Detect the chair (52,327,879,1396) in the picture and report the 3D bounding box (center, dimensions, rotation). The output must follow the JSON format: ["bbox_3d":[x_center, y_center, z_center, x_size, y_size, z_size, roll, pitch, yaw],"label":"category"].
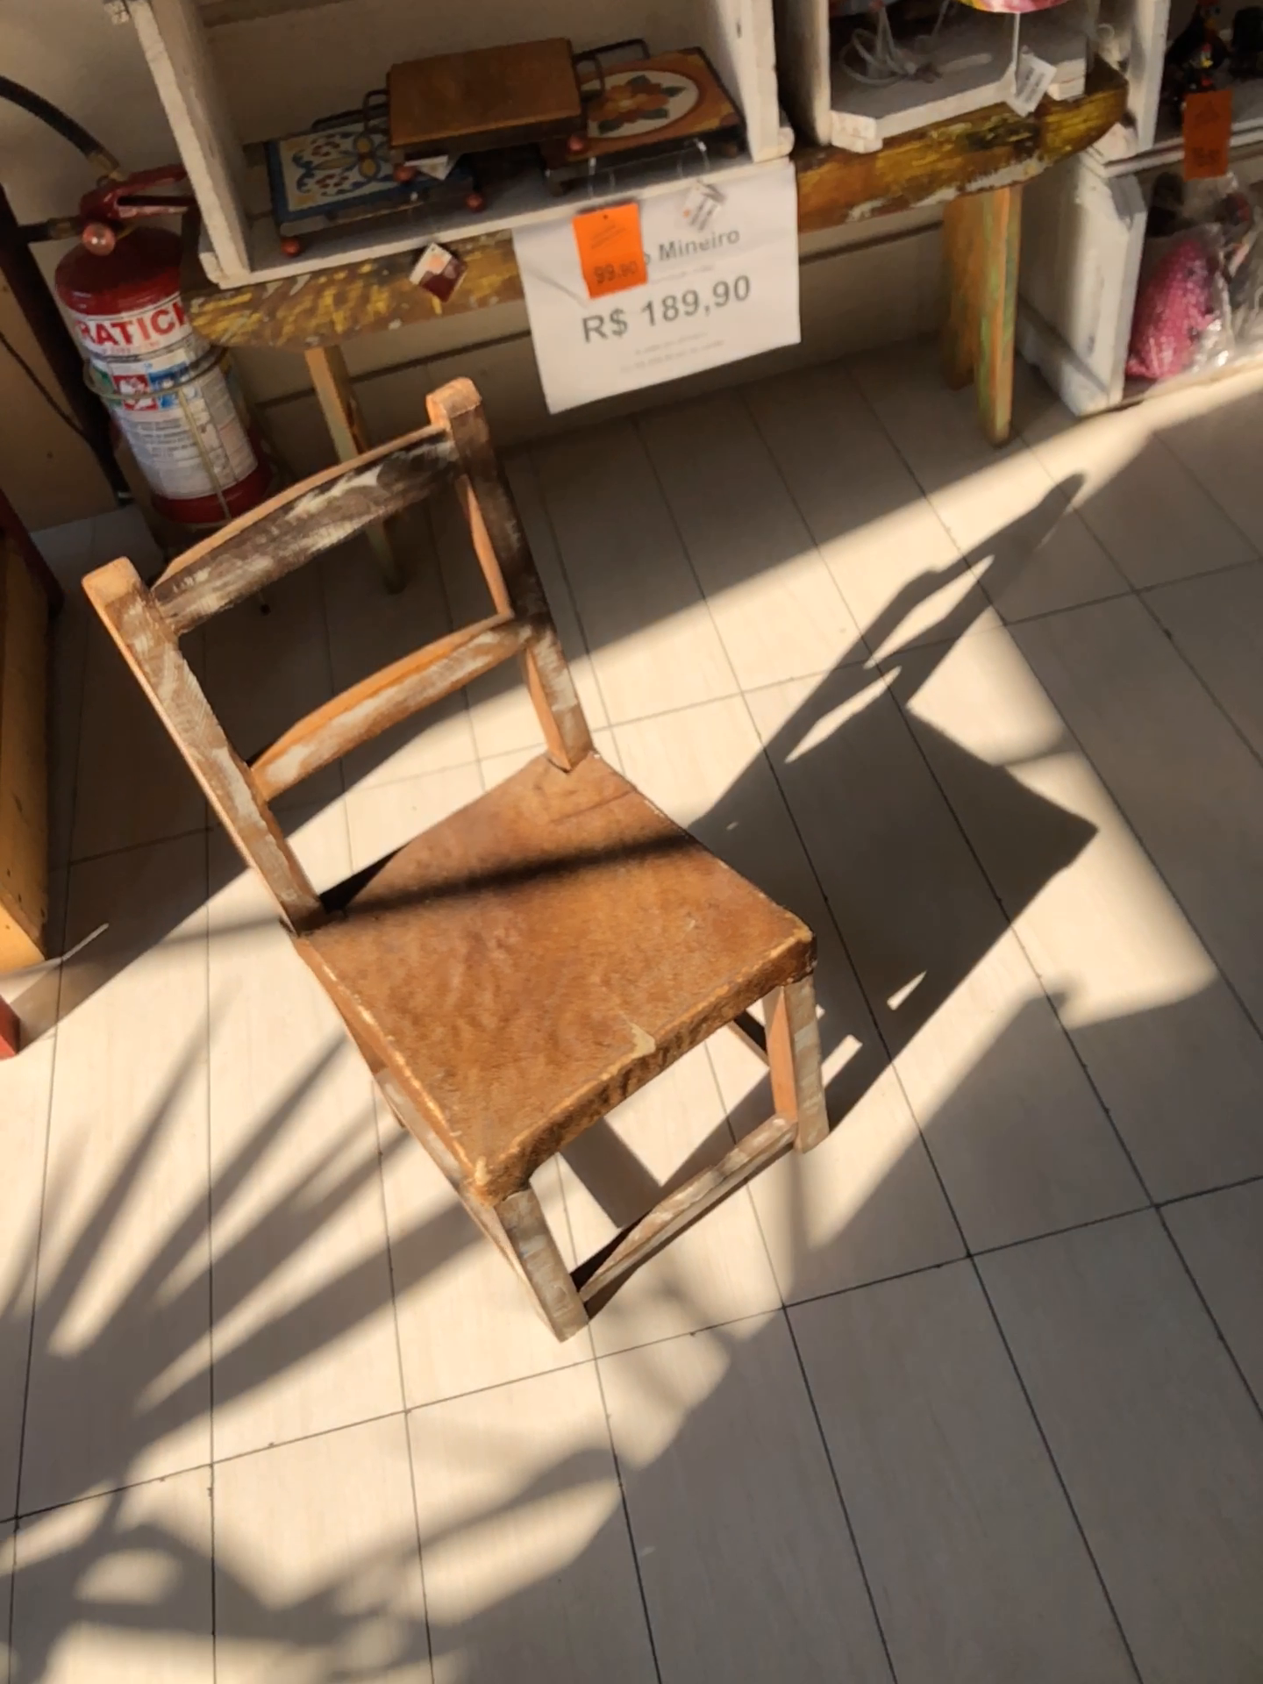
[{"bbox_3d":[-0.065,0.041,0.957,0.301,0.596,0.342,-34,51,-18],"label":"chair"}]
